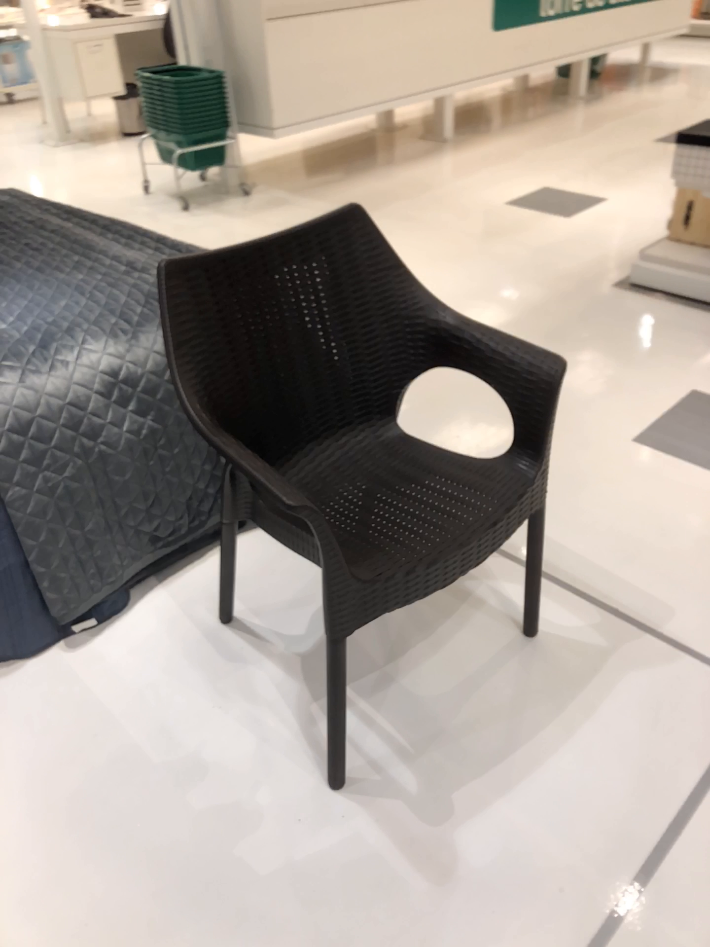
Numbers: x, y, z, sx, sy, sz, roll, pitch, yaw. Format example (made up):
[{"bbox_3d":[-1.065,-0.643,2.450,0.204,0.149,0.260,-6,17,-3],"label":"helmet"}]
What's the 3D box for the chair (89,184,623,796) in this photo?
[{"bbox_3d":[0.008,-0.018,1.419,0.592,0.764,0.572,-27,41,-31],"label":"chair"}]
